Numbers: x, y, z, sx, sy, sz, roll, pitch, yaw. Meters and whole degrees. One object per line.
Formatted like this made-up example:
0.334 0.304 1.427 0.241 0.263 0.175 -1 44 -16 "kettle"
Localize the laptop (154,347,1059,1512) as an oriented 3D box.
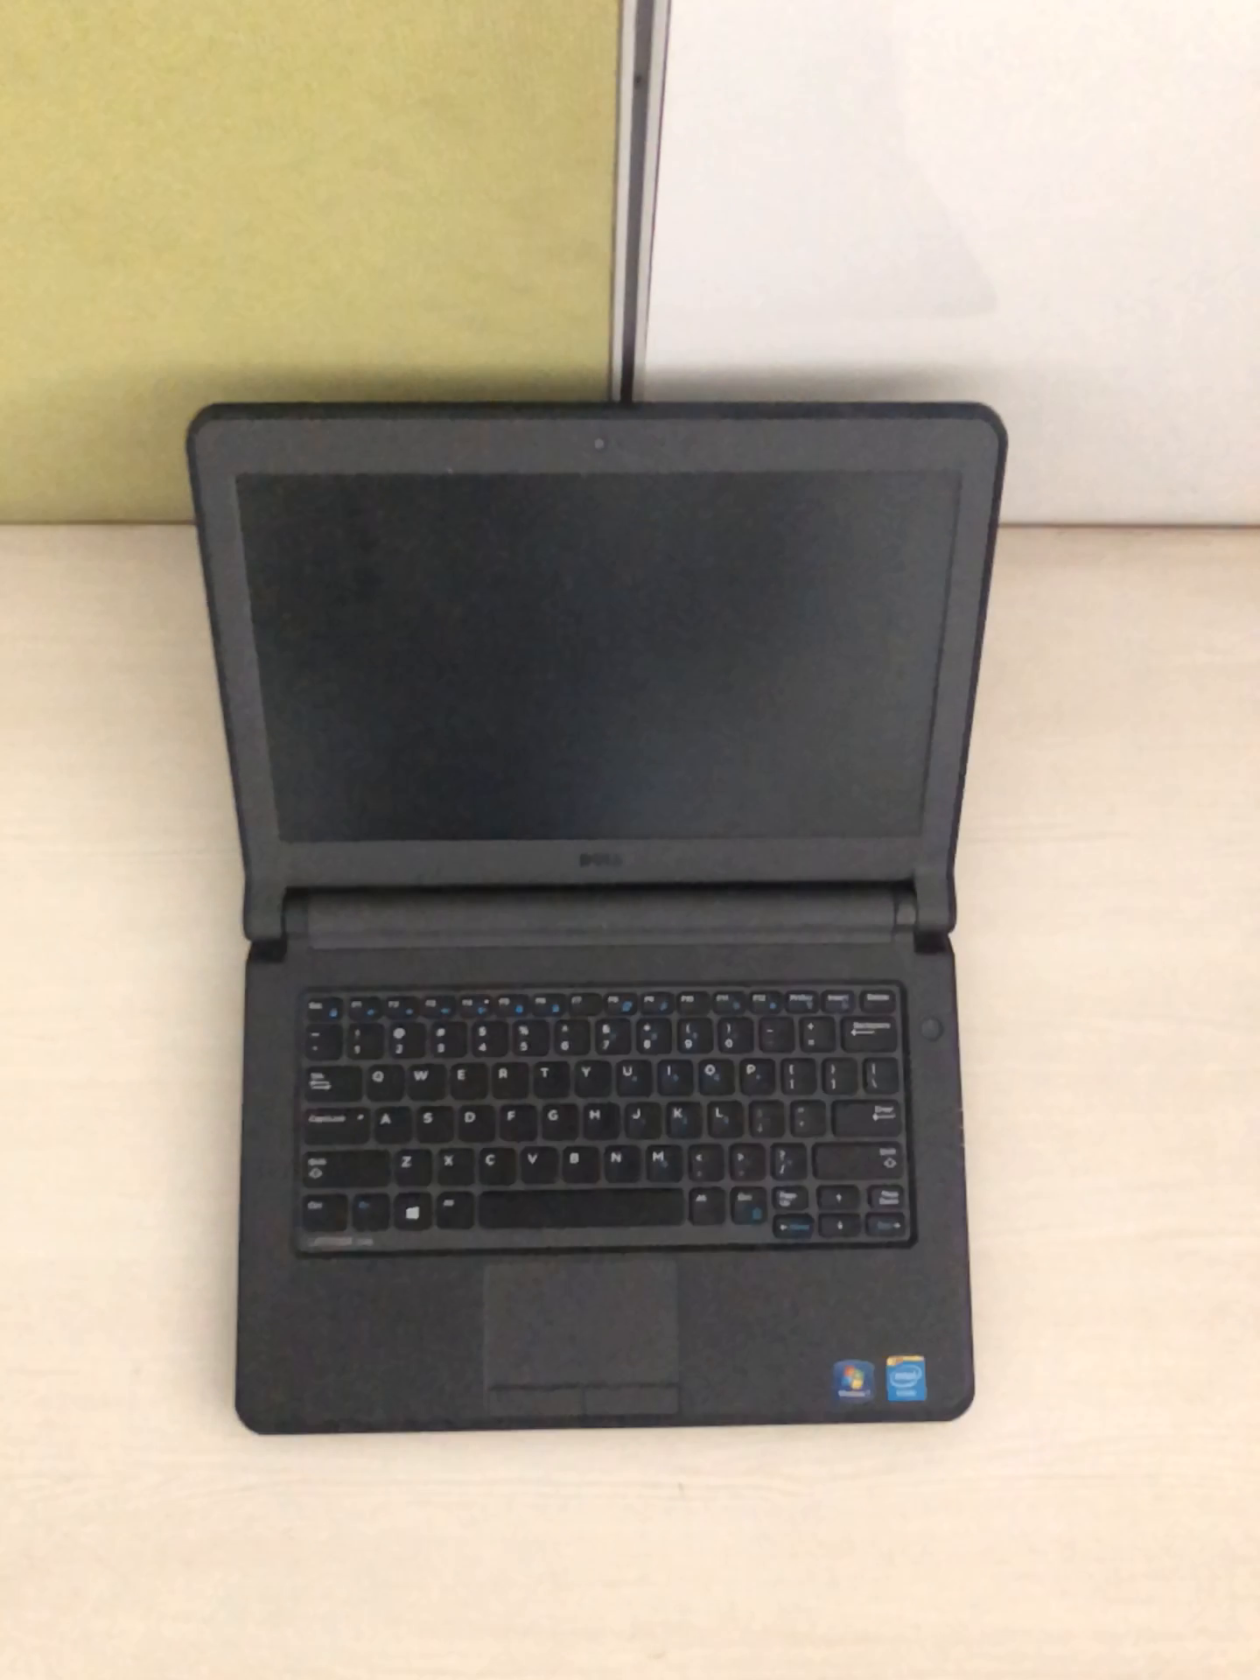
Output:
-0.011 0.036 0.559 0.316 0.123 0.415 -1 85 -2 "laptop"
